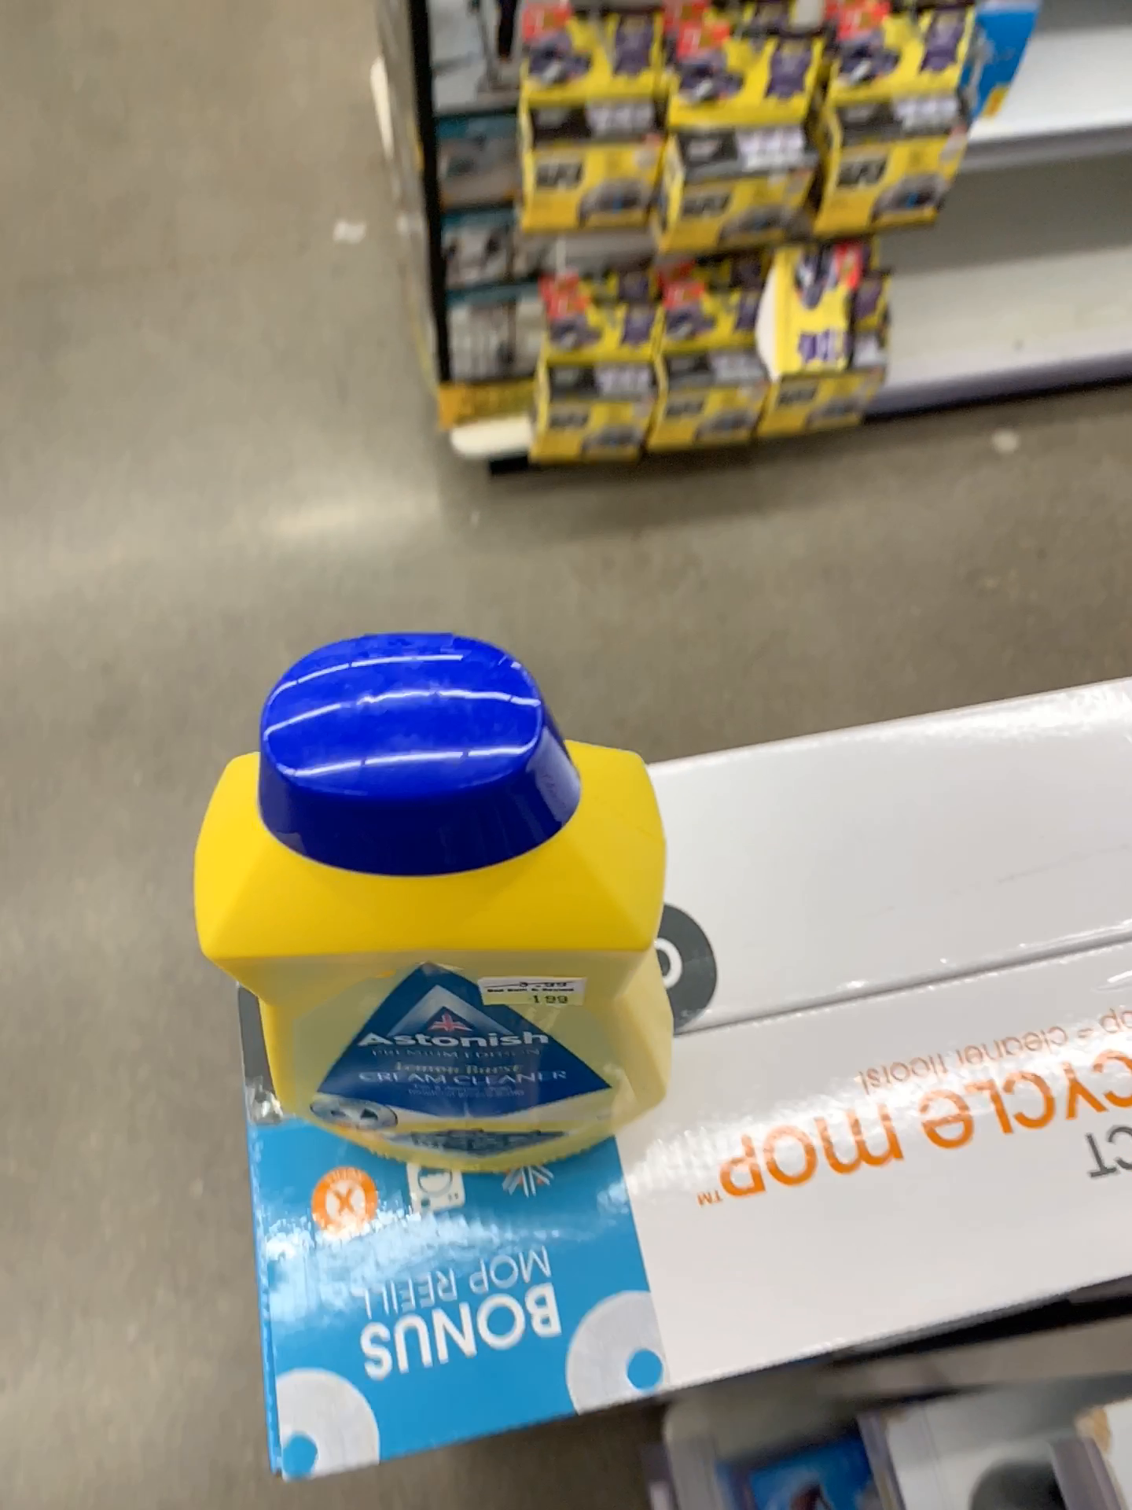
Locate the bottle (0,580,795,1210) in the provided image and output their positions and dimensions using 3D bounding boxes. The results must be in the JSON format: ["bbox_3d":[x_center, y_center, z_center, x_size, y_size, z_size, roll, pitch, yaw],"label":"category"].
[{"bbox_3d":[-0.024,0.047,0.243,0.100,0.190,0.060,-1,61,-2],"label":"bottle"}]
